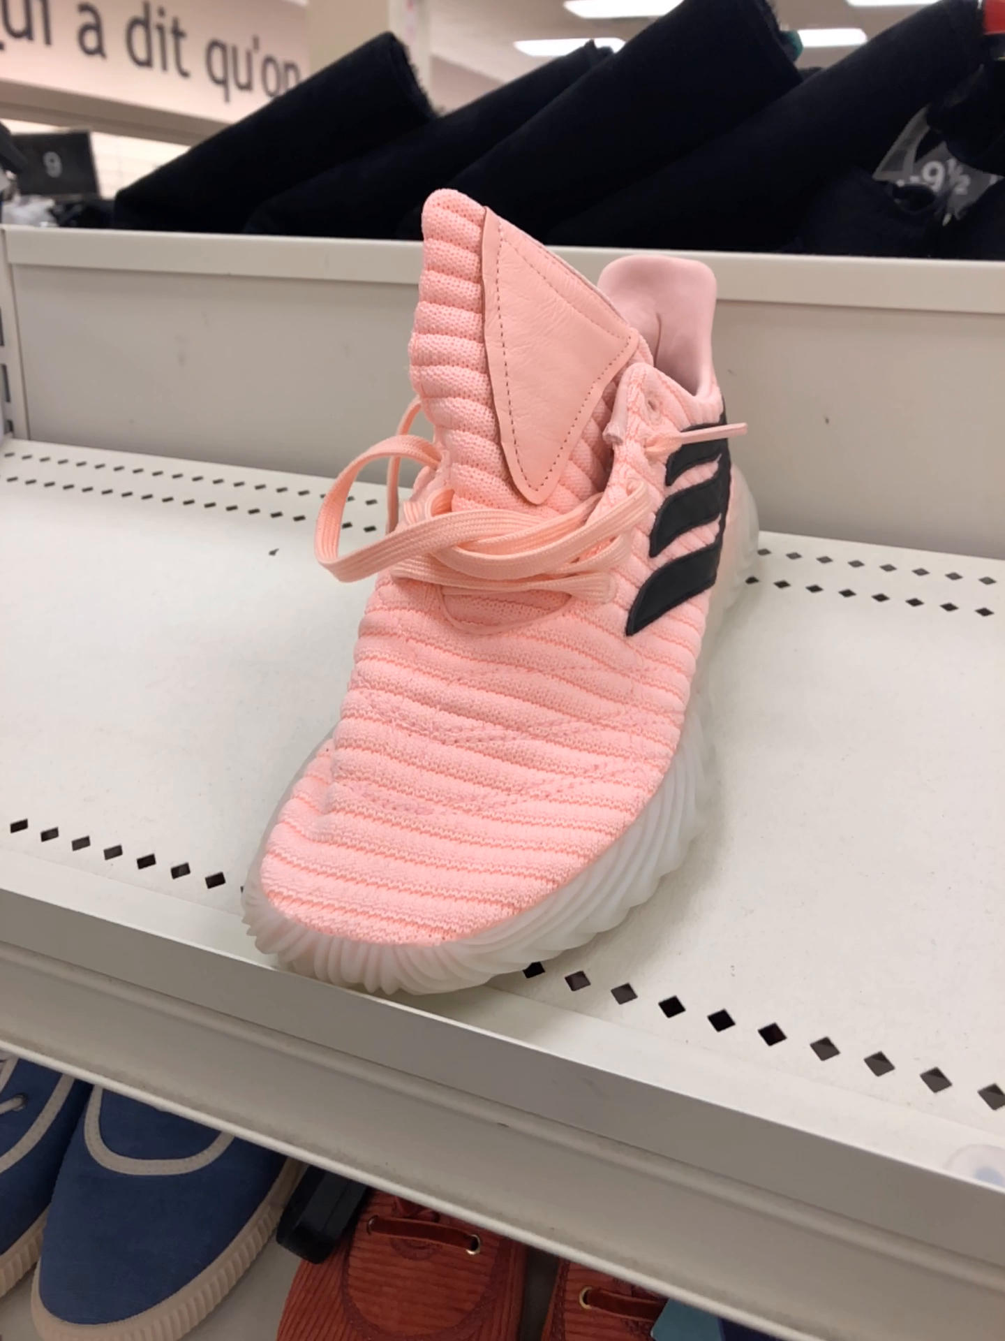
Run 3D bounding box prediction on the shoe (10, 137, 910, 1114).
[{"bbox_3d":[0.033,-0.060,0.358,0.120,0.169,0.322,11,33,24],"label":"shoe"}]
